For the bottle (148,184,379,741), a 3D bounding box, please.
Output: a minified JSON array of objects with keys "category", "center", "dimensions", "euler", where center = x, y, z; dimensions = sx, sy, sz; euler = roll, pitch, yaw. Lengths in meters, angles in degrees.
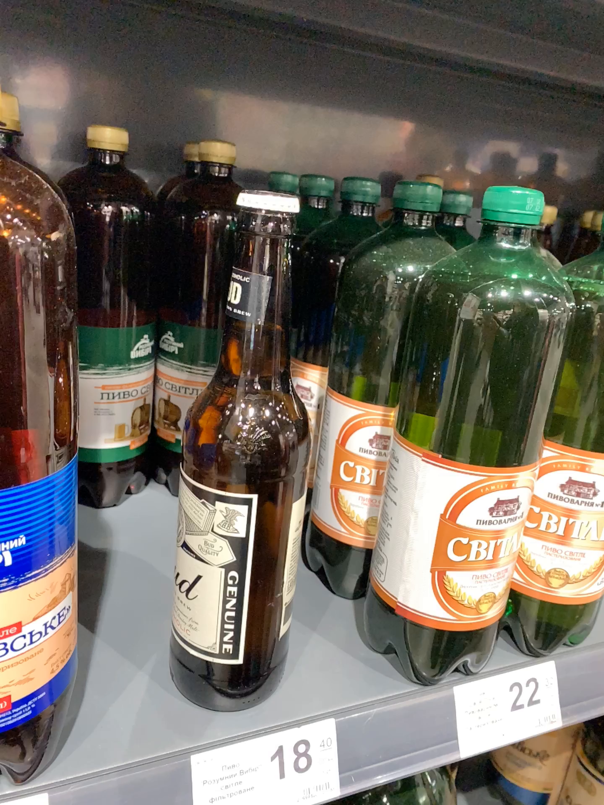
[{"category":"bottle","center":[-0.025,0.031,0.317],"dimensions":[0.064,0.259,0.070],"euler":[19,22,32]}]
